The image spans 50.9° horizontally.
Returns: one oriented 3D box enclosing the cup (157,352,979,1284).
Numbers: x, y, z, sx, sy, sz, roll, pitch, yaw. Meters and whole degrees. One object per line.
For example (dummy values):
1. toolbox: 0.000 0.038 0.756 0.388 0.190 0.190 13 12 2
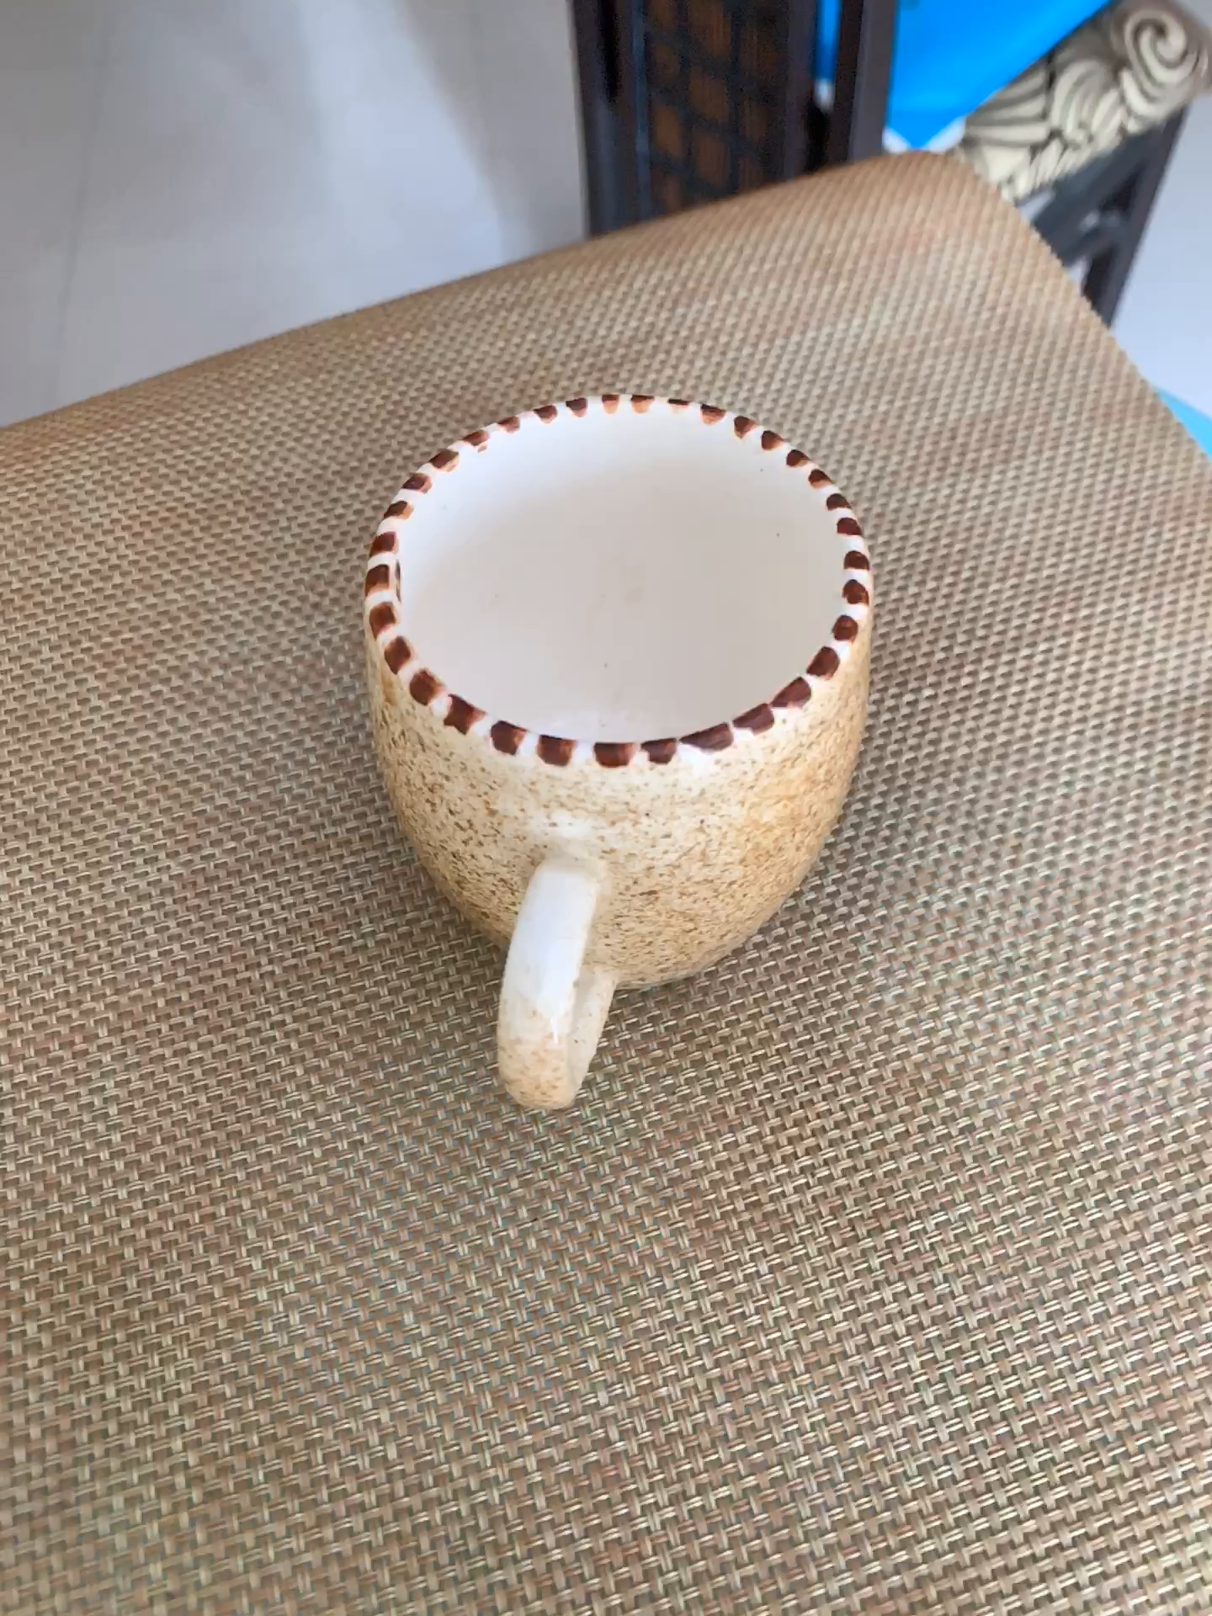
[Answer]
1. cup: 0.002 0.002 0.171 0.070 0.070 0.090 12 59 9
